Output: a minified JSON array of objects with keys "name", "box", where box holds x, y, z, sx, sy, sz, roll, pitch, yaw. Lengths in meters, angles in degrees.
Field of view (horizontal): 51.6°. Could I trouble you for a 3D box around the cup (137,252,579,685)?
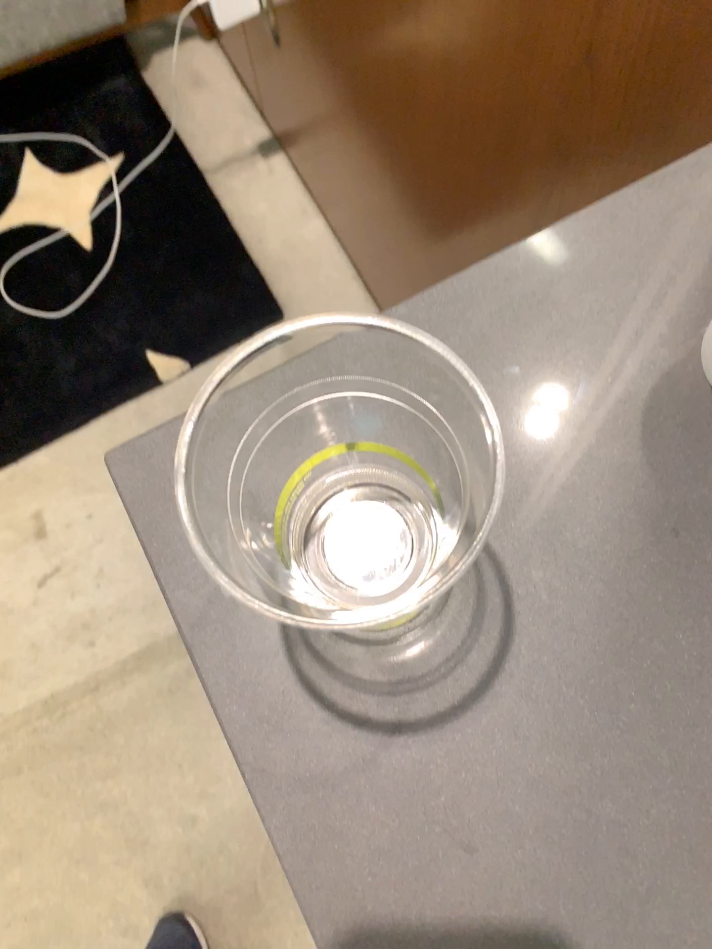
[{"name":"cup","box":[0.001,0.010,0.255,0.090,0.120,0.090,-1,73,4]}]
